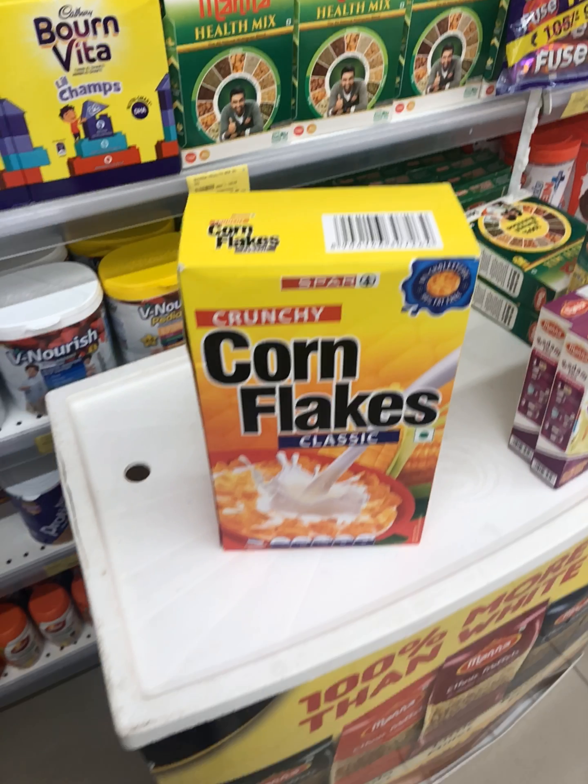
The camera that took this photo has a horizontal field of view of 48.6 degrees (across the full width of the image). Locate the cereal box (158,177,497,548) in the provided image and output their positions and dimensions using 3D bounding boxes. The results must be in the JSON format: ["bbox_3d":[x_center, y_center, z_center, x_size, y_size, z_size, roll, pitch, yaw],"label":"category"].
[{"bbox_3d":[0.020,-0.001,0.529,0.200,0.319,0.090,-2,45,-1],"label":"cereal box"}]
